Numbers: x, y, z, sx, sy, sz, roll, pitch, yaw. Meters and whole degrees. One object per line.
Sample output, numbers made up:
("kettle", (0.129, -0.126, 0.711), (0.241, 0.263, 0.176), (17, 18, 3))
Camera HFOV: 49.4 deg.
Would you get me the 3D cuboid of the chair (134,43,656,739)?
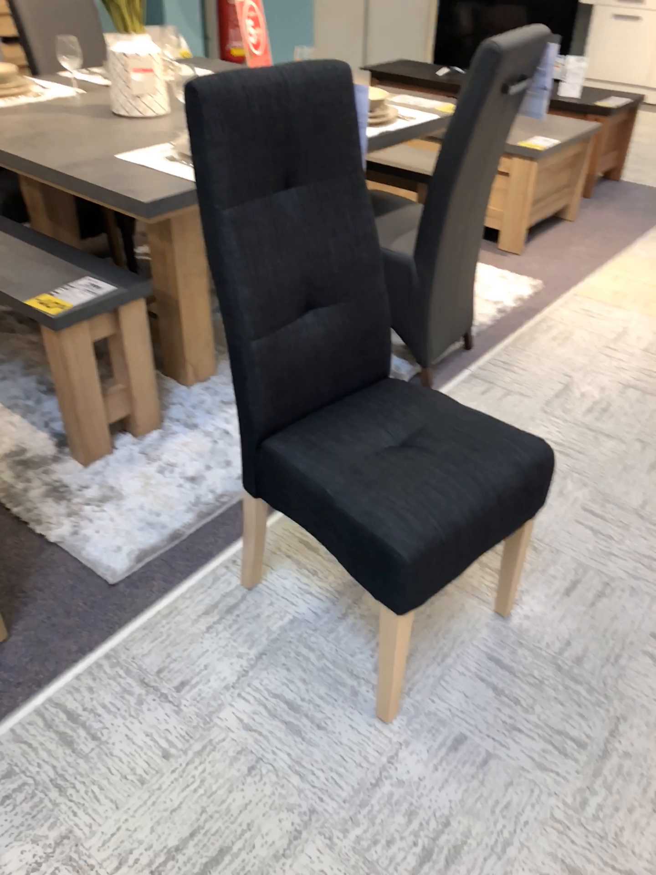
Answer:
("chair", (0.083, -0.092, 1.332), (0.600, 1.044, 0.483), (31, 45, 34))
